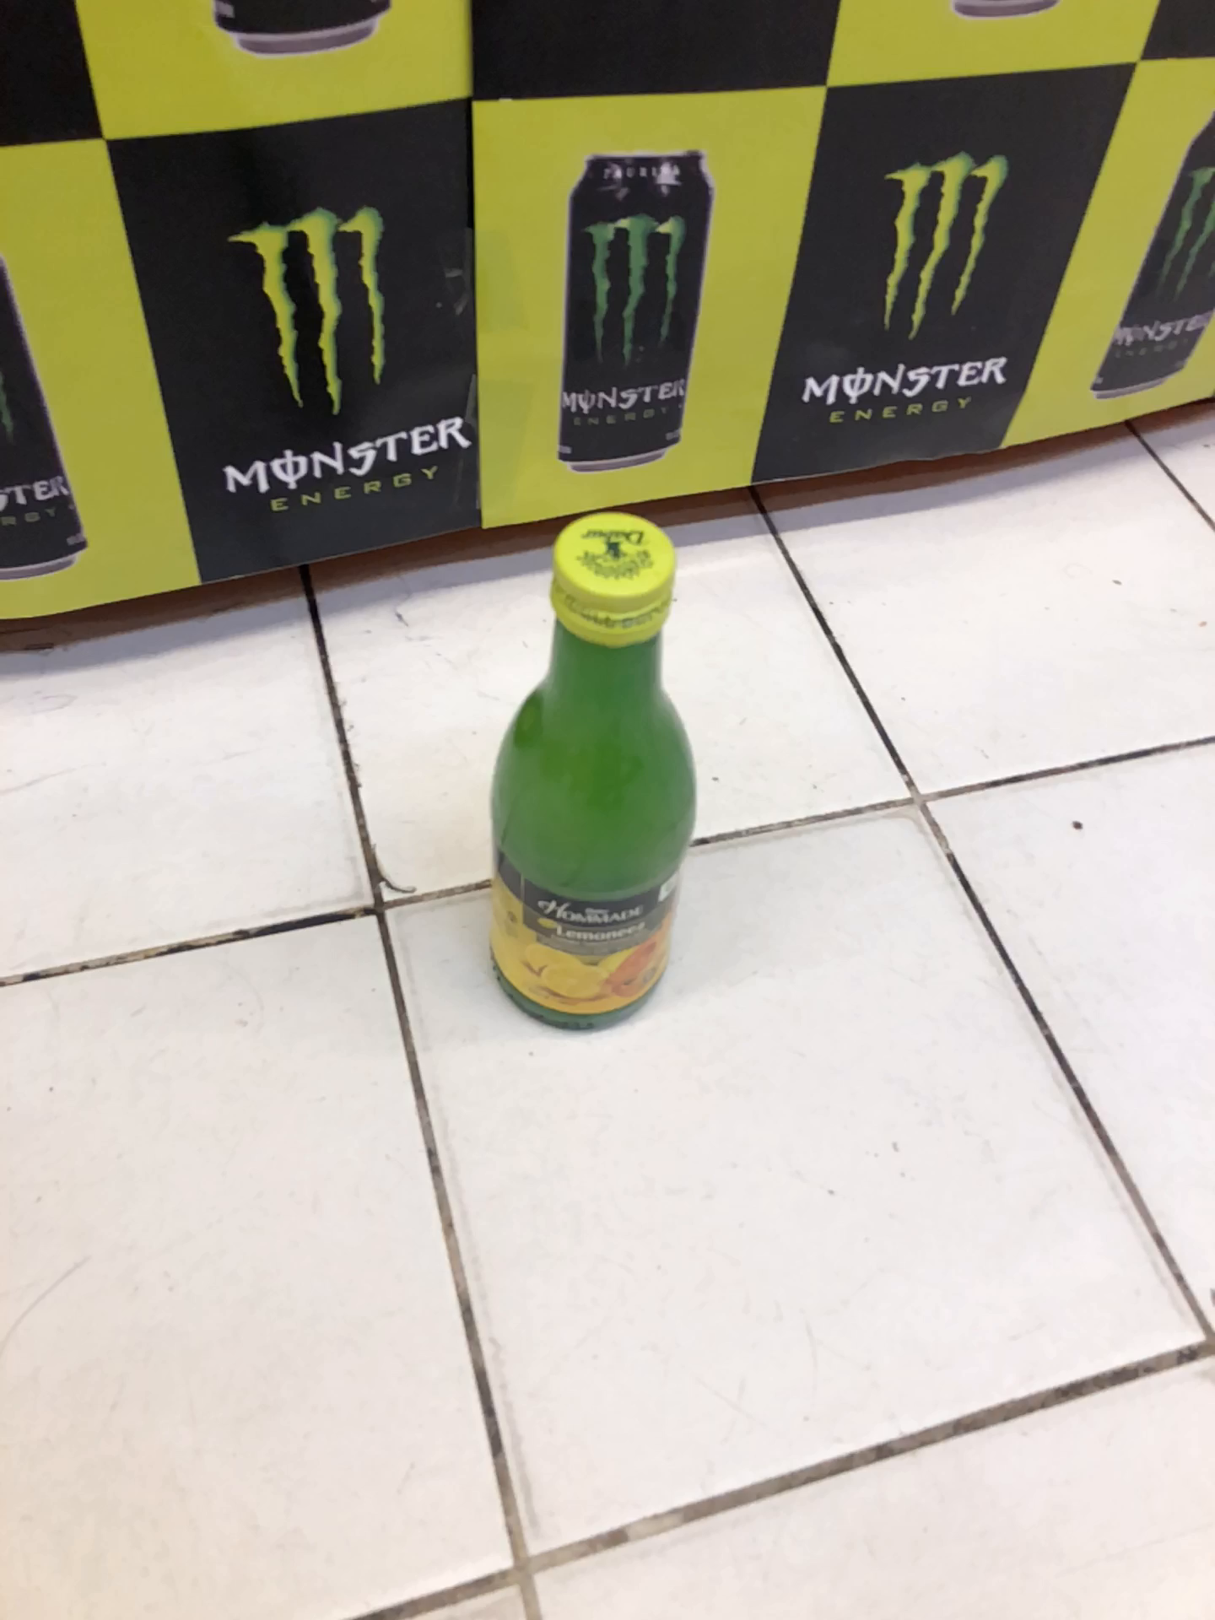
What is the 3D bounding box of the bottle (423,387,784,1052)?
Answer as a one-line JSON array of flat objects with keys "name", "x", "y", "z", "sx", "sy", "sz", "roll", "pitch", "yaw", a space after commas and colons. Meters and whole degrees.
[{"name": "bottle", "x": -0.010, "y": -0.013, "z": 0.353, "sx": 0.070, "sy": 0.179, "sz": 0.070, "roll": 3, "pitch": 51, "yaw": -4}]
